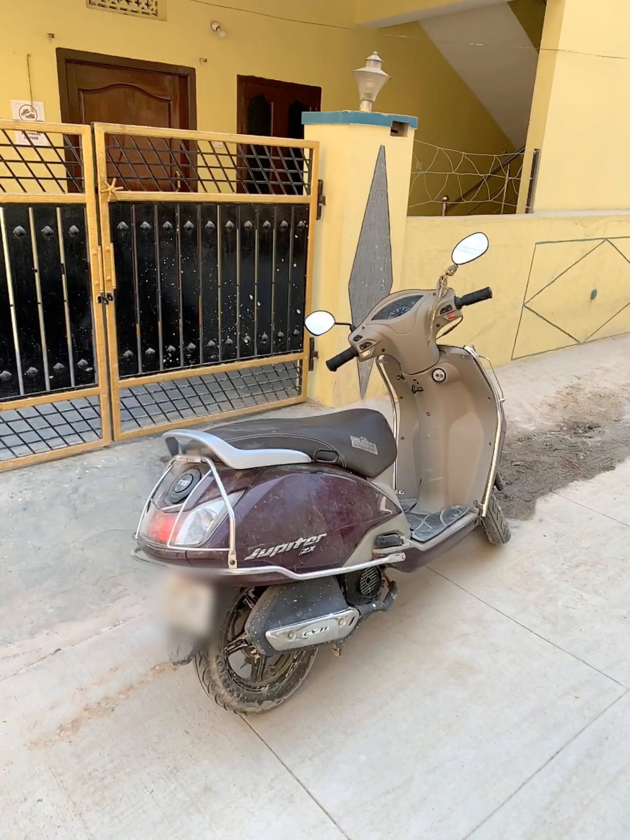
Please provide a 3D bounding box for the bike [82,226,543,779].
[{"bbox_3d":[0.093,0.070,2.221,0.614,1.159,1.529,18,30,36],"label":"bike"}]
